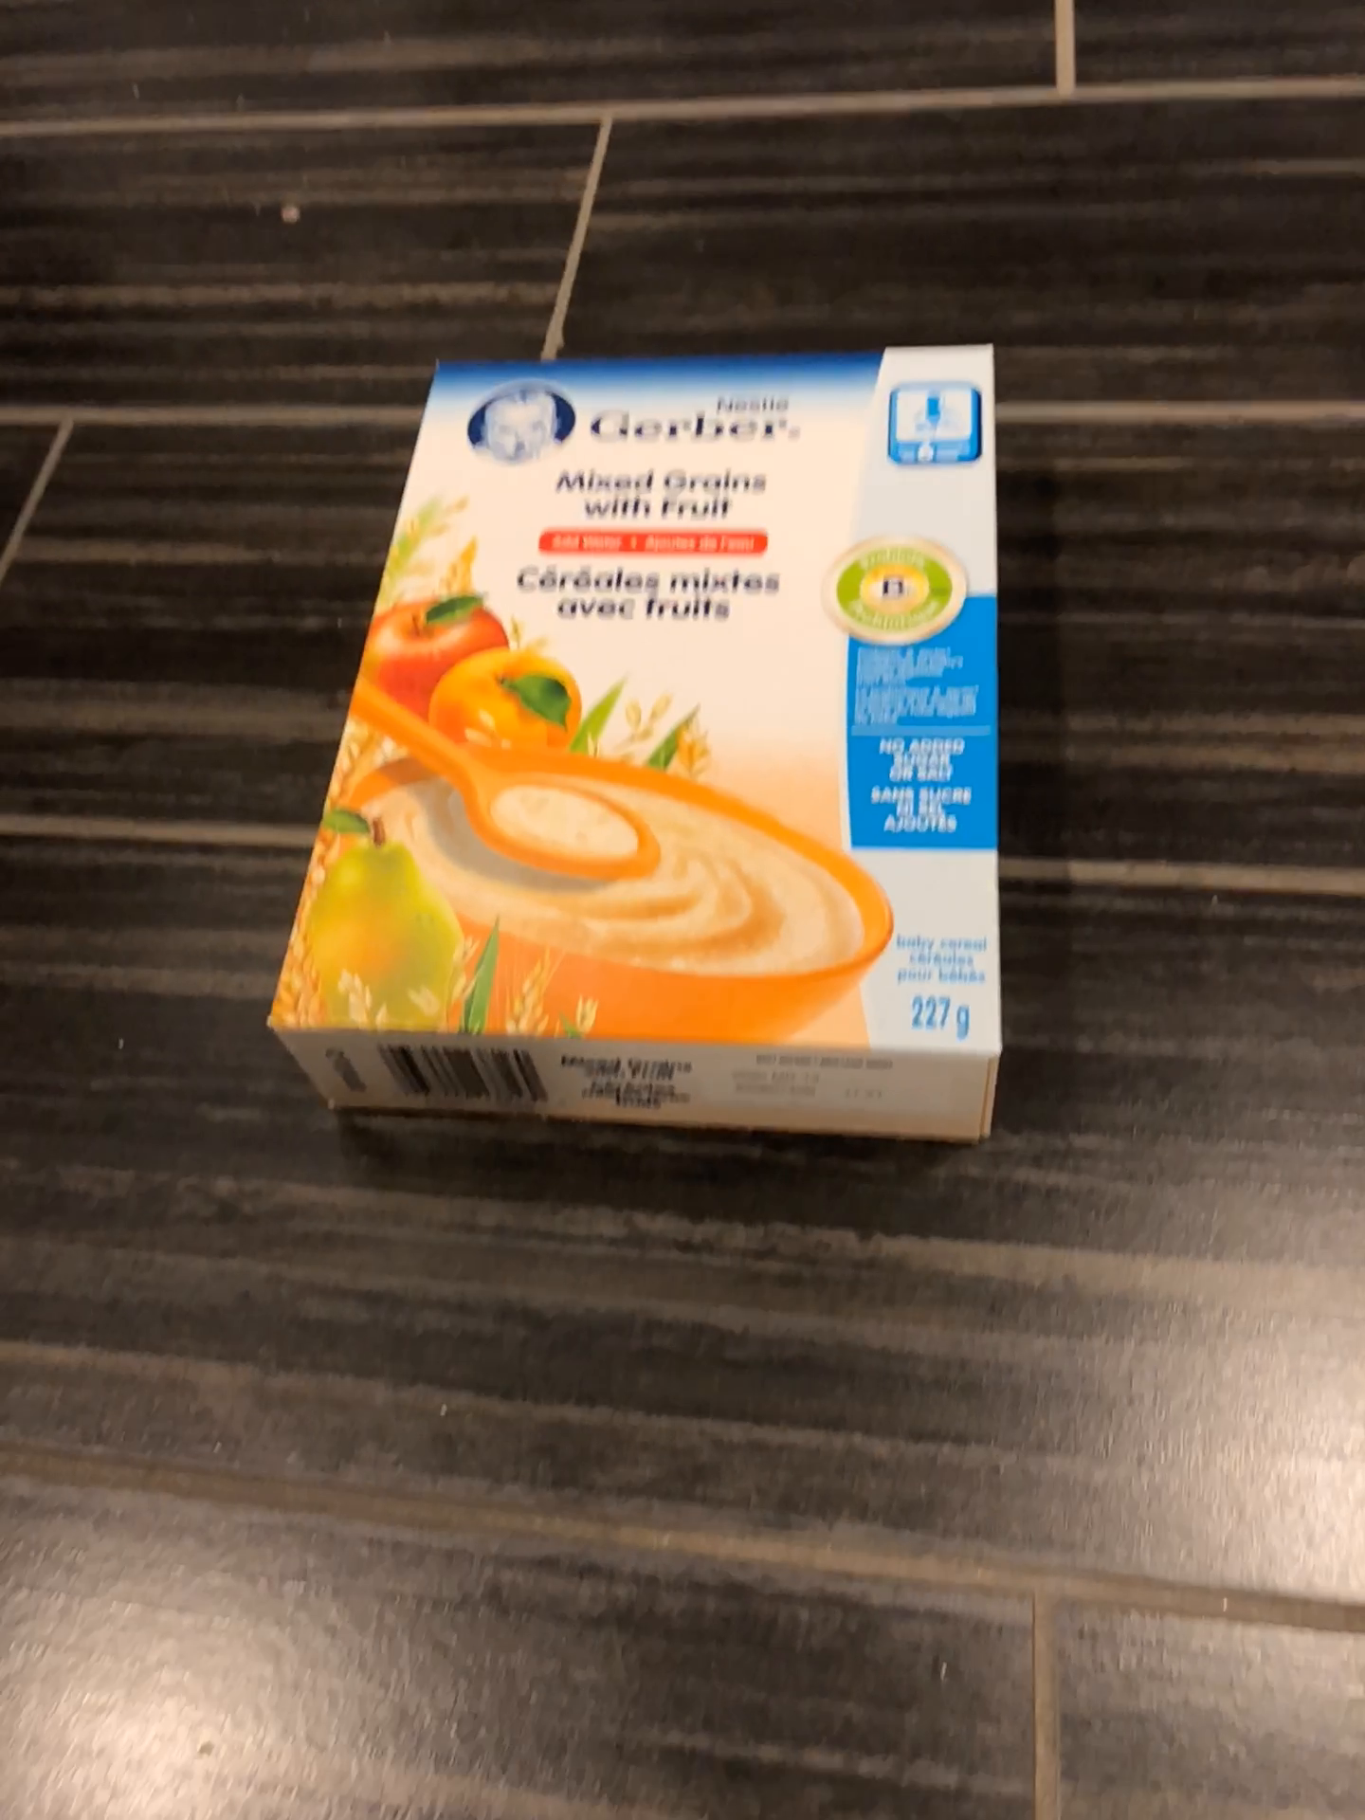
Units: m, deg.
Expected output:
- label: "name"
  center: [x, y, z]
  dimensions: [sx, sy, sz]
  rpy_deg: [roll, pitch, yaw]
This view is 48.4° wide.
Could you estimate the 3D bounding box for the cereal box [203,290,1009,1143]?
- label: "cereal box"
  center: [-0.005, -0.053, 0.349]
  dimensions: [0.150, 0.050, 0.200]
  rpy_deg: [2, 60, 8]
